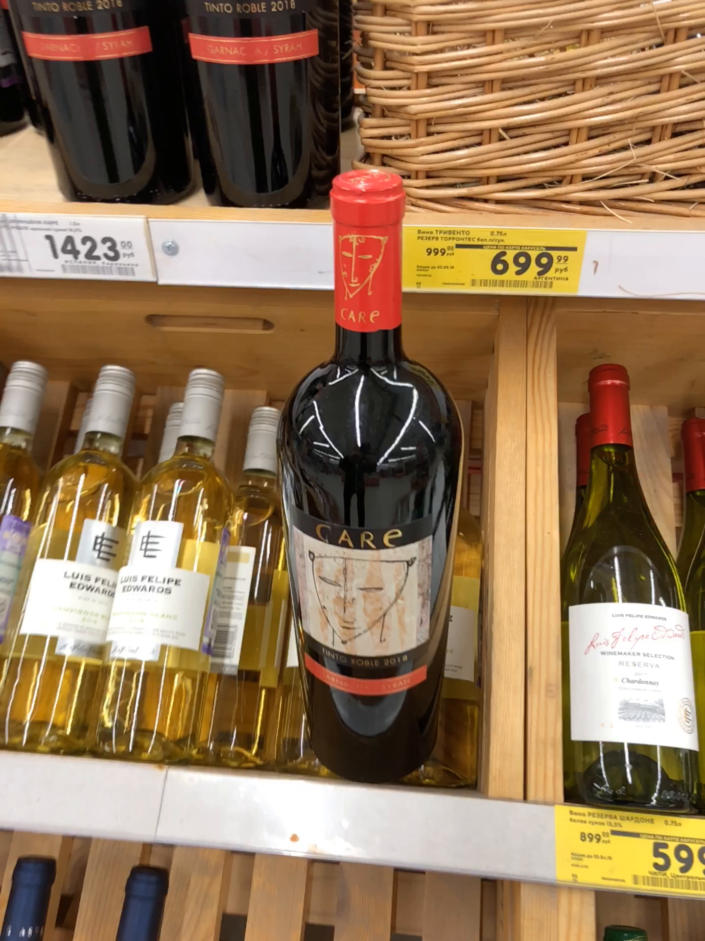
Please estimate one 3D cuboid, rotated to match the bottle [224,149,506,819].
[{"bbox_3d":[0.013,0.029,0.419,0.100,0.358,0.101,-1,34,0],"label":"bottle"}]
